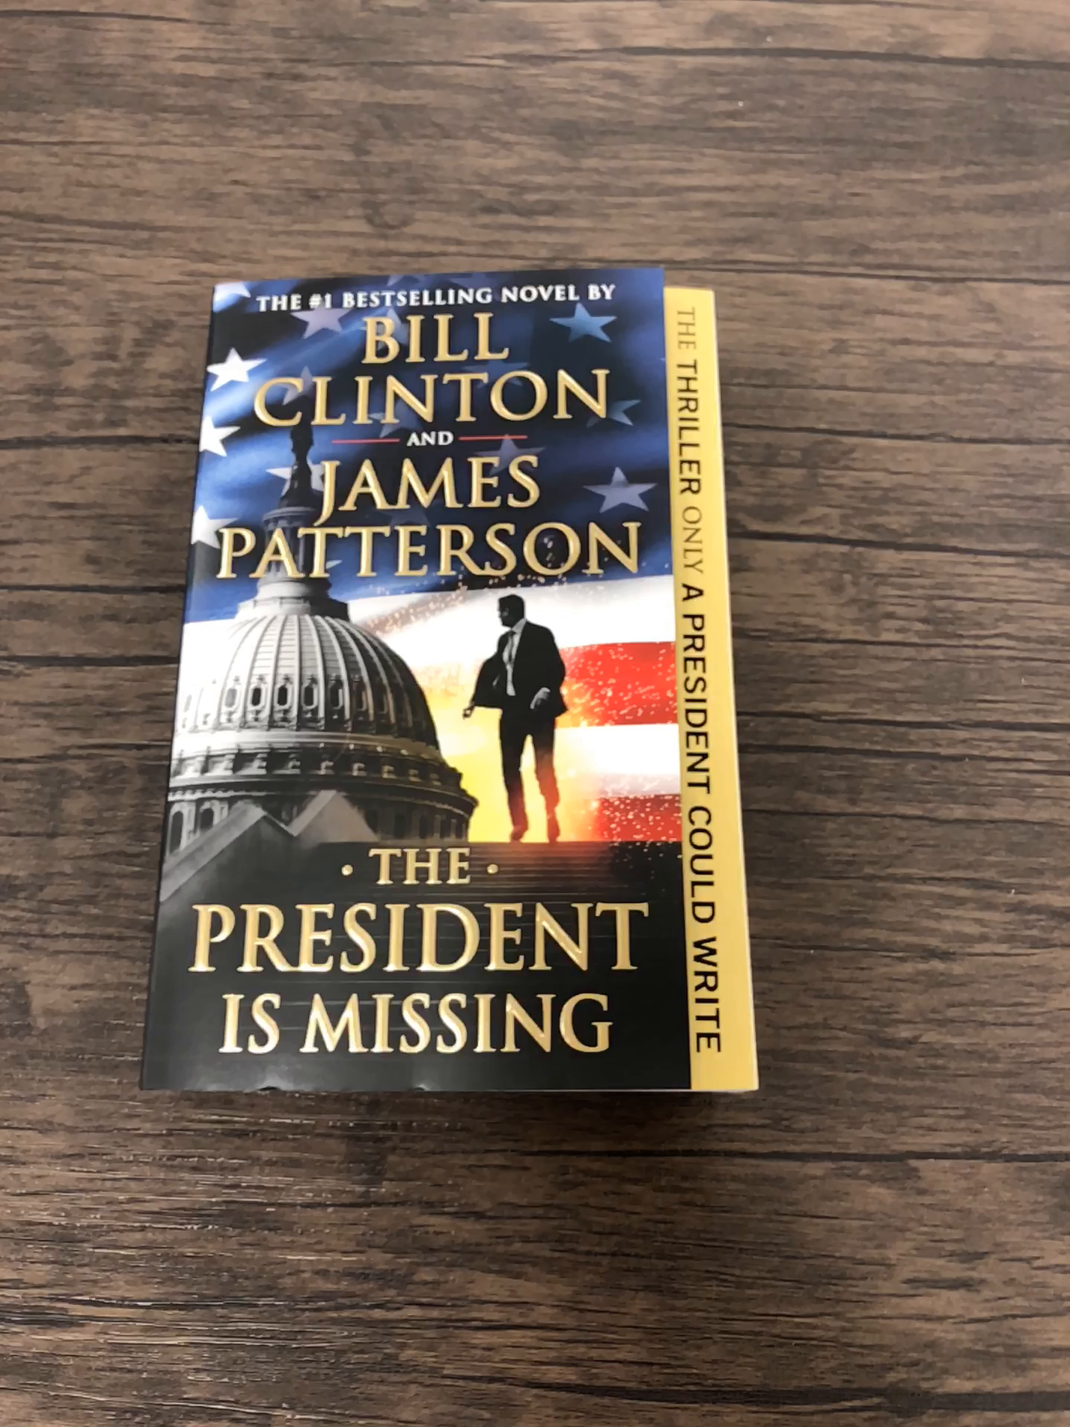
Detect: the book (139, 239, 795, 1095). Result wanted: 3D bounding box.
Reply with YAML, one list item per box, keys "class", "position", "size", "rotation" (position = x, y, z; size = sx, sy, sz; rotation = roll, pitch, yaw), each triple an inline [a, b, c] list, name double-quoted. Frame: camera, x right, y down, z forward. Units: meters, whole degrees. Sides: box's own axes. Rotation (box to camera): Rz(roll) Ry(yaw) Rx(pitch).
- class: "book"
  position: [-0.016, -0.014, 0.313]
  size: [0.140, 0.054, 0.216]
  rotation: [0, 73, -2]
